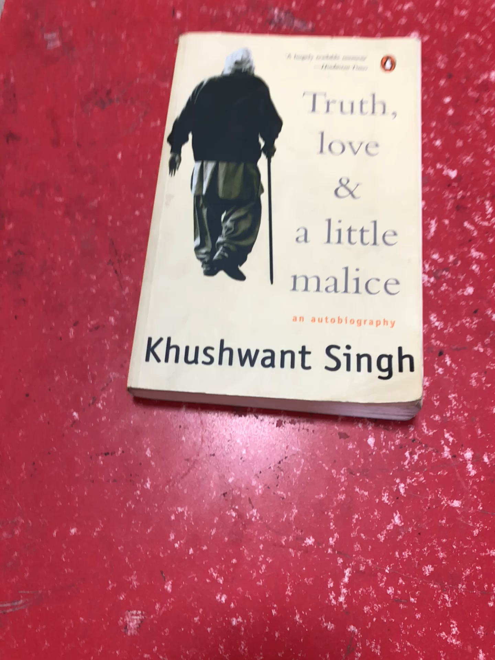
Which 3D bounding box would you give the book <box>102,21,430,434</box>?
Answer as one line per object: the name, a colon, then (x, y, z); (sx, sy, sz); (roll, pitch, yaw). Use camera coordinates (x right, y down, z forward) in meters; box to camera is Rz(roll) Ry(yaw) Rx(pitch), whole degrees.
book: (0.018, -0.061, 0.287); (0.140, 0.040, 0.210); (4, 72, 6)
